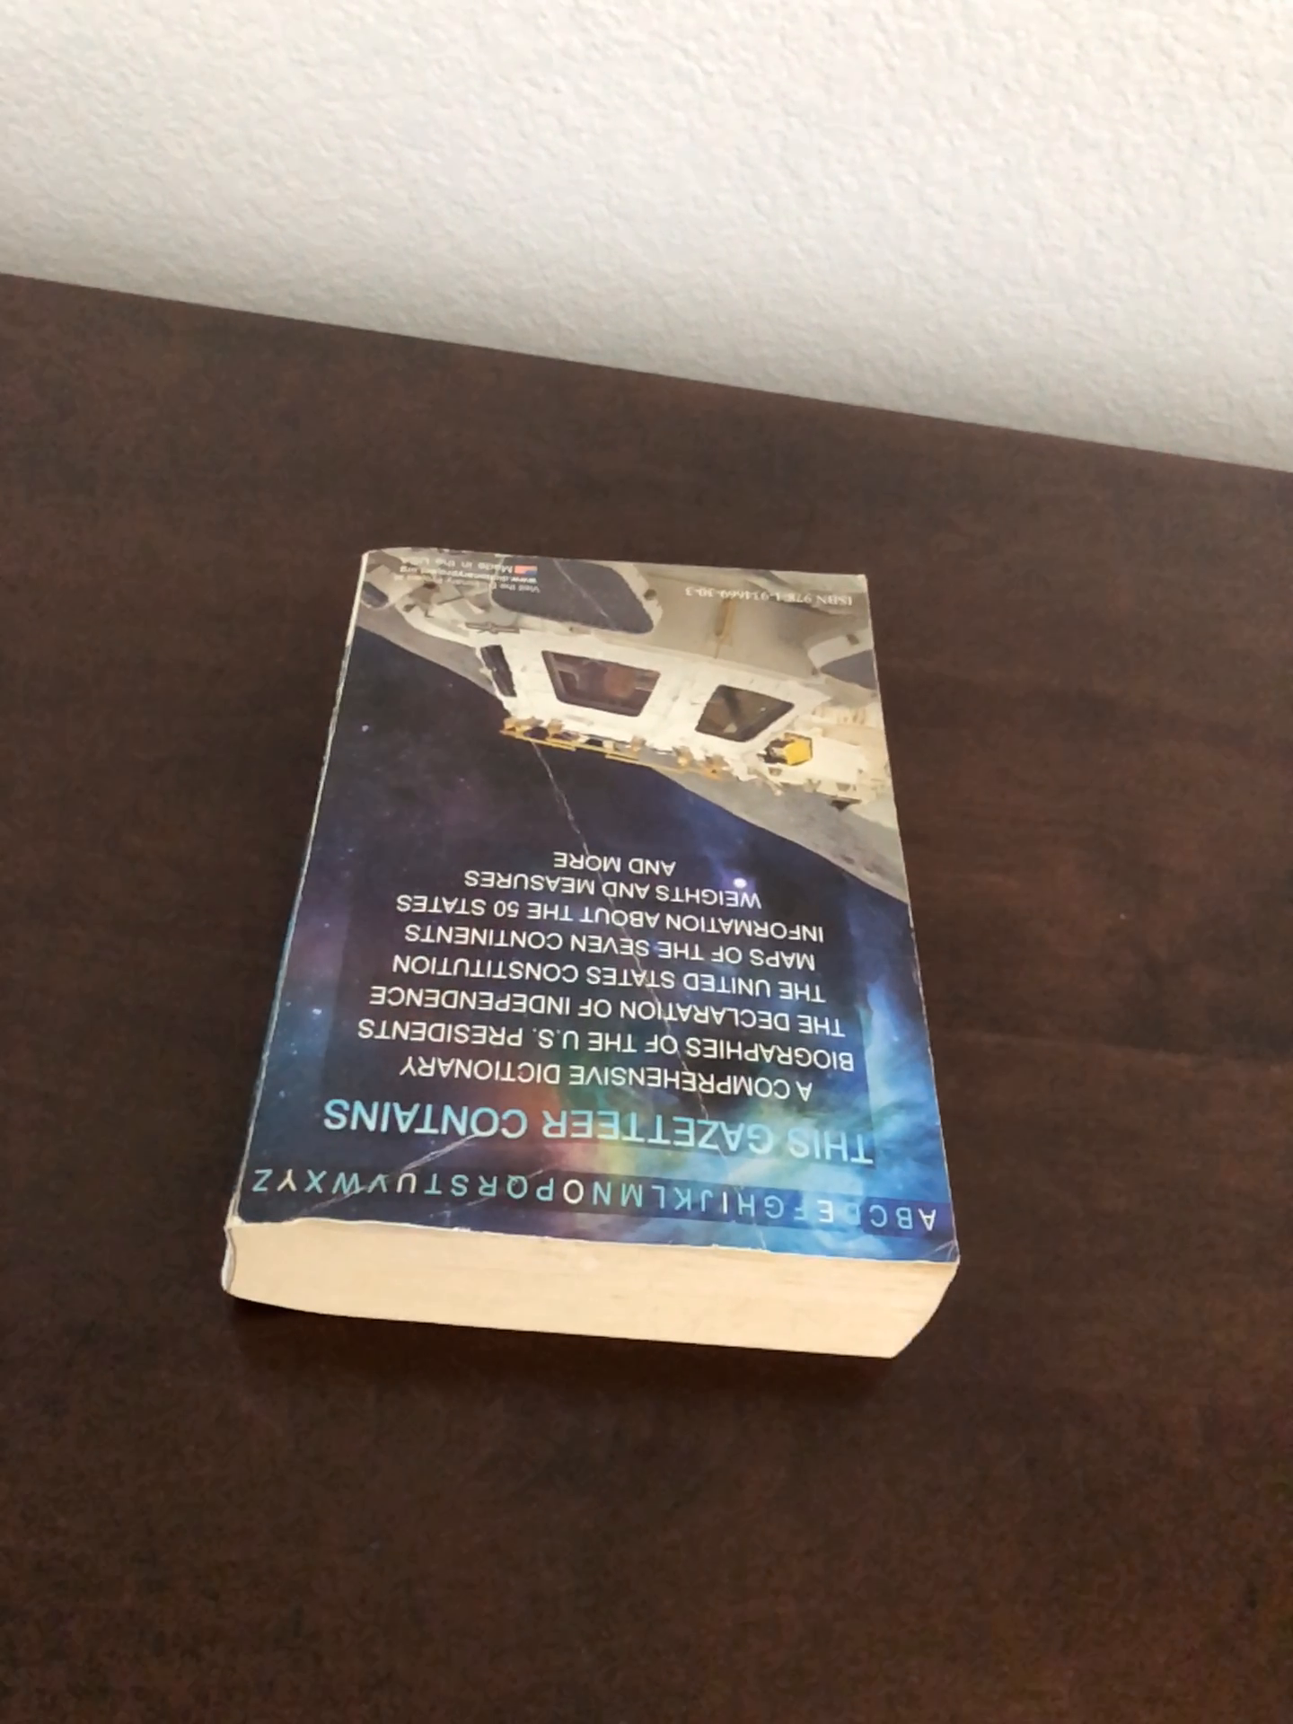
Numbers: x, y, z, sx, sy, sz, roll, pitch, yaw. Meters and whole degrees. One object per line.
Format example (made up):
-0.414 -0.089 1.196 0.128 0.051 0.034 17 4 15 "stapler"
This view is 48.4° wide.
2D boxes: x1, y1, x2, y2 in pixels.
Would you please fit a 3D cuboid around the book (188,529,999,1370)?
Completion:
-0.006 0.007 0.325 0.140 0.040 0.196 3 51 -1 "book"
